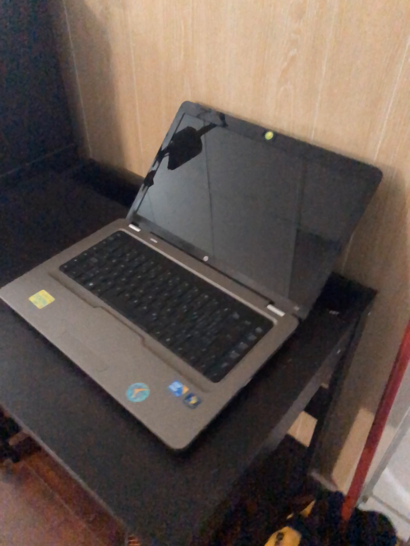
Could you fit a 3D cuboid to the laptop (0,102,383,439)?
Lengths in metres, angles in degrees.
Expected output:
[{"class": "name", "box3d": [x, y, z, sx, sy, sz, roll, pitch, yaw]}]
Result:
[{"class": "laptop", "box3d": [-0.030, -0.062, 0.644, 0.364, 0.154, 0.419, 30, 50, 29]}]
